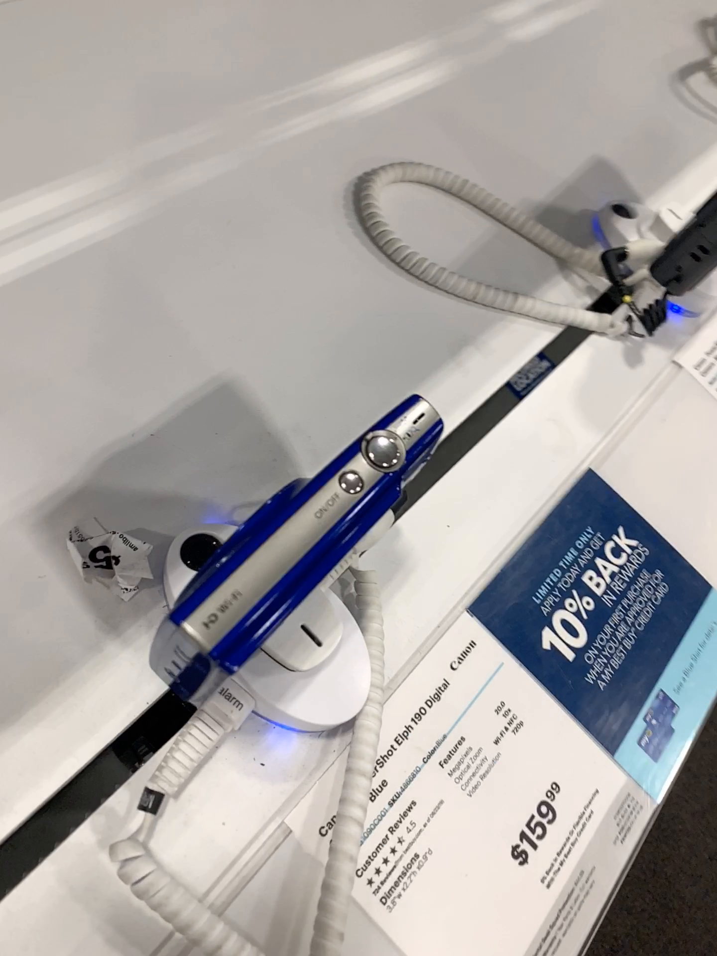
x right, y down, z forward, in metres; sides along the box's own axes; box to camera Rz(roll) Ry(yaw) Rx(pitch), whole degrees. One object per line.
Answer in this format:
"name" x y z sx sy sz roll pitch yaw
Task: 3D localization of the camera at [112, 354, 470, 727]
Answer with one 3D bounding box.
"camera" -0.018 0.017 0.207 0.027 0.060 0.100 43 56 0
